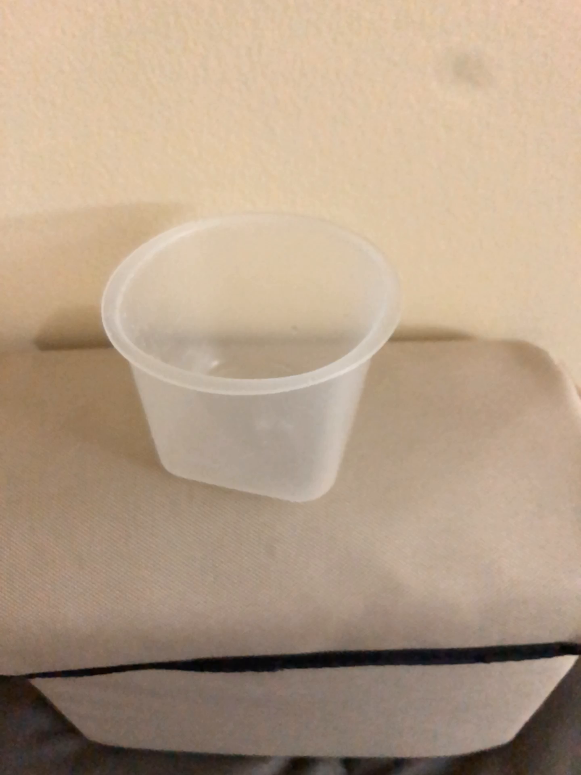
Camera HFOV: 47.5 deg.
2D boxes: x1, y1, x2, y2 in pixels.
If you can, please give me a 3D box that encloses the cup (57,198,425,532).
[{"bbox_3d":[-0.007,-0.010,0.192,0.080,0.046,0.076,-1,48,1],"label":"cup"}]
